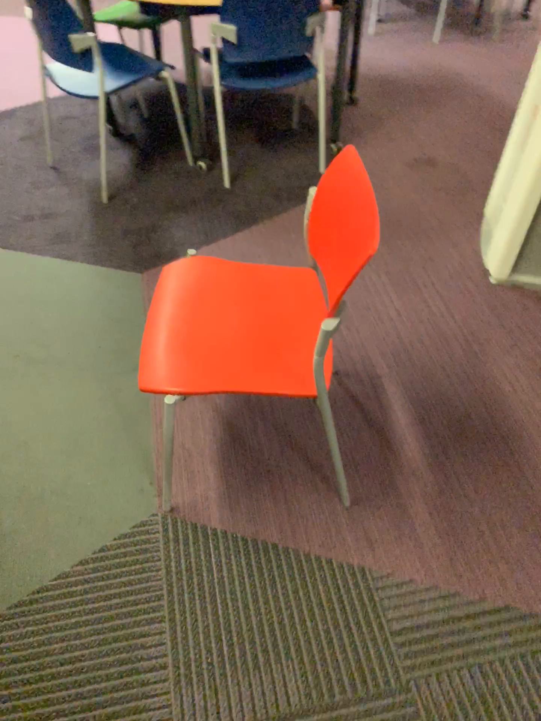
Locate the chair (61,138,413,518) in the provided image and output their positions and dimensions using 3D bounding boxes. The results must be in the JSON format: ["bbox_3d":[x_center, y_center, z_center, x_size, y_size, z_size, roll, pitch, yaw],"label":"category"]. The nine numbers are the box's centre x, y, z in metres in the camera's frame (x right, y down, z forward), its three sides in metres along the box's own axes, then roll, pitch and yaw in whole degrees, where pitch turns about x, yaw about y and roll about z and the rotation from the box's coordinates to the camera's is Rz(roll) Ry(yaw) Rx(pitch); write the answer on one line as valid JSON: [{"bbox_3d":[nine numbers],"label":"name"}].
[{"bbox_3d":[-0.039,-0.066,1.309,0.560,0.684,0.545,3,44,3],"label":"chair"}]
